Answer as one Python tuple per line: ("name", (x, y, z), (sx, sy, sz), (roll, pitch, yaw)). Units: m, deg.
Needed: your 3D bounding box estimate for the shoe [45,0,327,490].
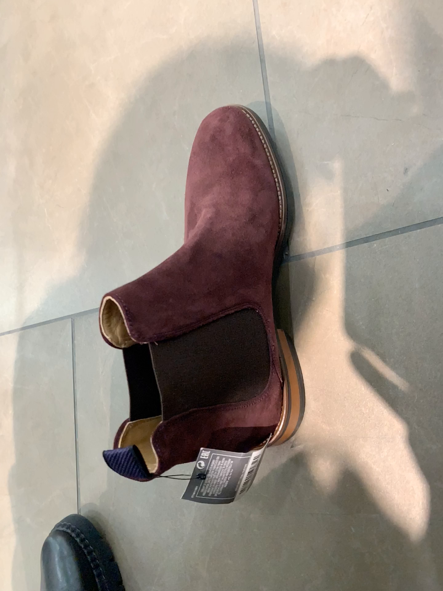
("shoe", (-0.028, -0.027, 0.356), (0.114, 0.161, 0.298), (-15, 75, 35))
